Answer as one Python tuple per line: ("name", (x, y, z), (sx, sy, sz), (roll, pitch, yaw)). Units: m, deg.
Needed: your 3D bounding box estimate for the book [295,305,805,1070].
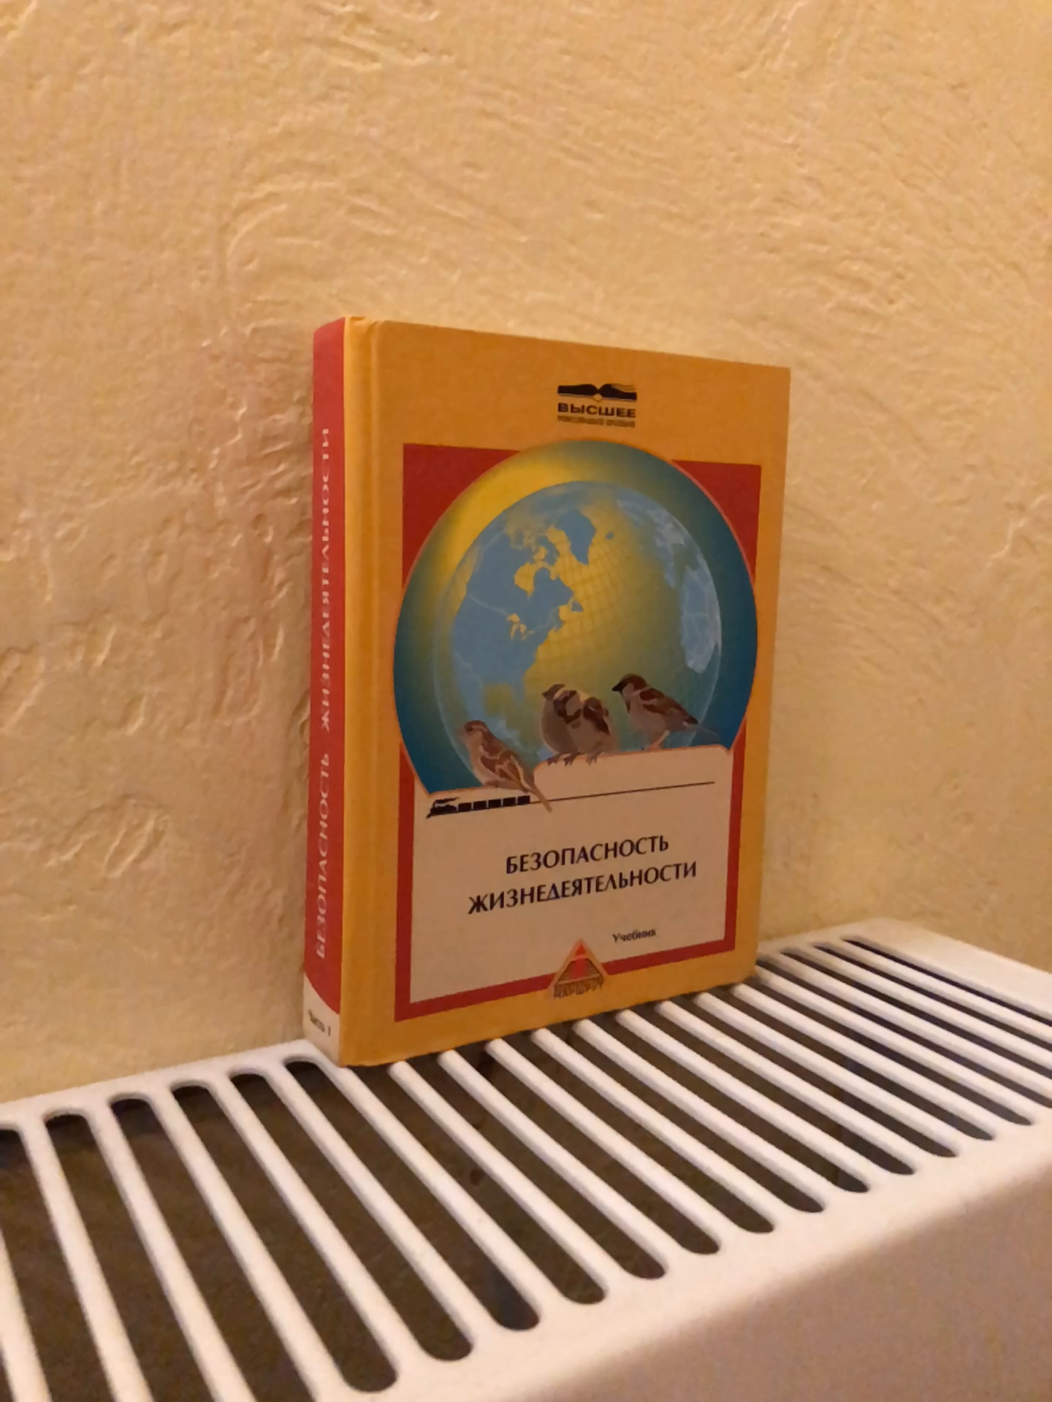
("book", (0.008, -0.006, 0.358), (0.150, 0.203, 0.041), (-4, 11, -29))
